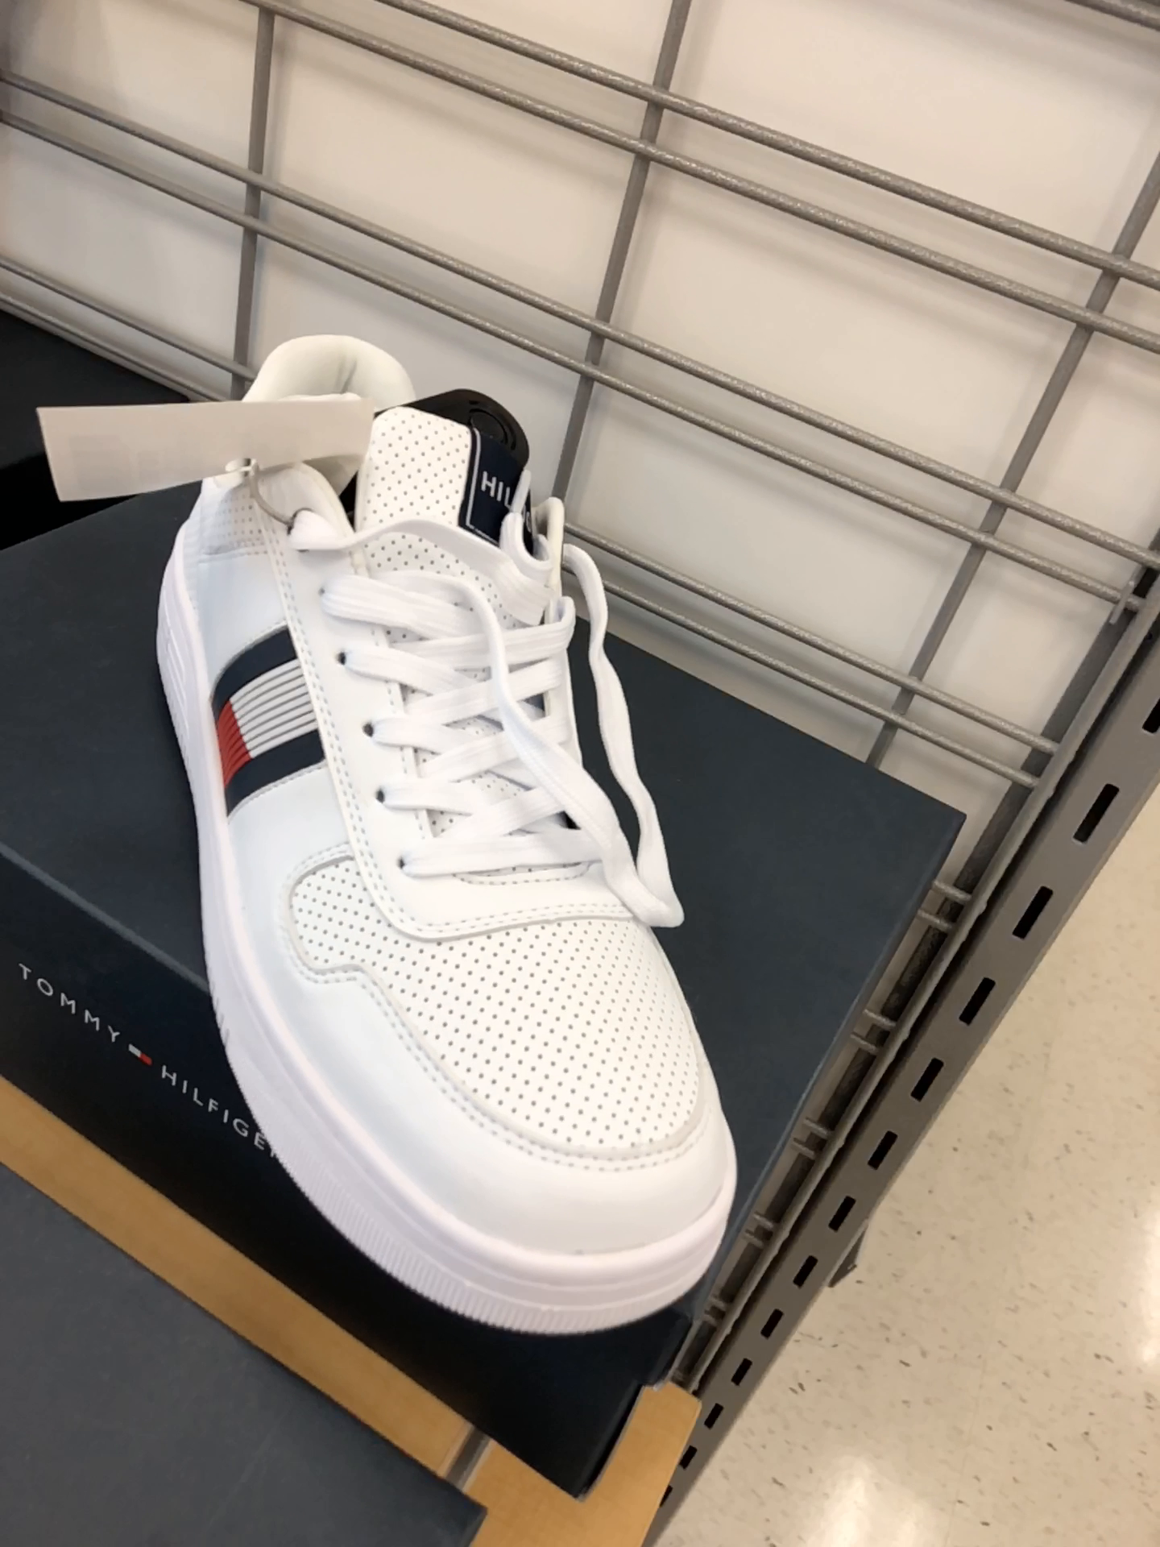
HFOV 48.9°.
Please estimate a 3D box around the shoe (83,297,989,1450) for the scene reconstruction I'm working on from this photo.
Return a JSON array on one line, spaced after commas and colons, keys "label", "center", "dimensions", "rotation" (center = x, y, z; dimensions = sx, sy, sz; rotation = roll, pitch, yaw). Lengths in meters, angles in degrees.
[{"label": "shoe", "center": [-0.046, -0.009, 0.327], "dimensions": [0.110, 0.109, 0.282], "rotation": [-6, 42, -28]}]
